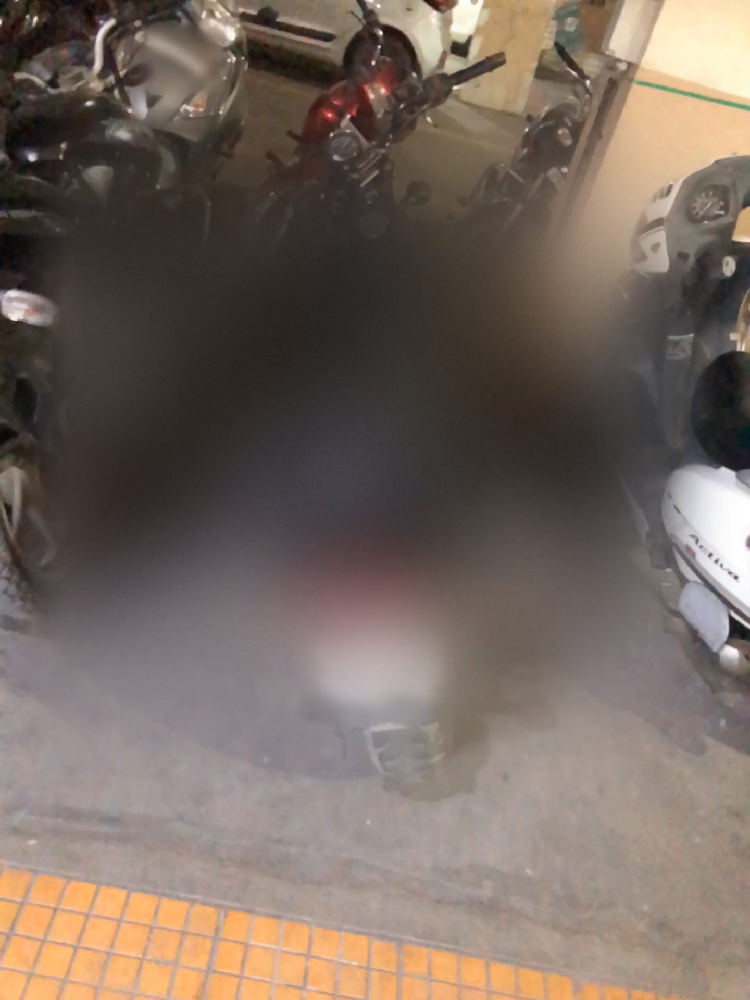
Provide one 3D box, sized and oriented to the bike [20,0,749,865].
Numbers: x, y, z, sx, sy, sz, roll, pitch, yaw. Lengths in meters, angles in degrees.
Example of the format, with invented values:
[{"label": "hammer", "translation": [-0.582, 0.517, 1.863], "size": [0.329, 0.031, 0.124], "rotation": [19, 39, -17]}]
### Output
[{"label": "bike", "translation": [-0.113, -0.389, 1.857], "size": [0.863, 1.251, 1.677], "rotation": [9, 35, -11]}]
